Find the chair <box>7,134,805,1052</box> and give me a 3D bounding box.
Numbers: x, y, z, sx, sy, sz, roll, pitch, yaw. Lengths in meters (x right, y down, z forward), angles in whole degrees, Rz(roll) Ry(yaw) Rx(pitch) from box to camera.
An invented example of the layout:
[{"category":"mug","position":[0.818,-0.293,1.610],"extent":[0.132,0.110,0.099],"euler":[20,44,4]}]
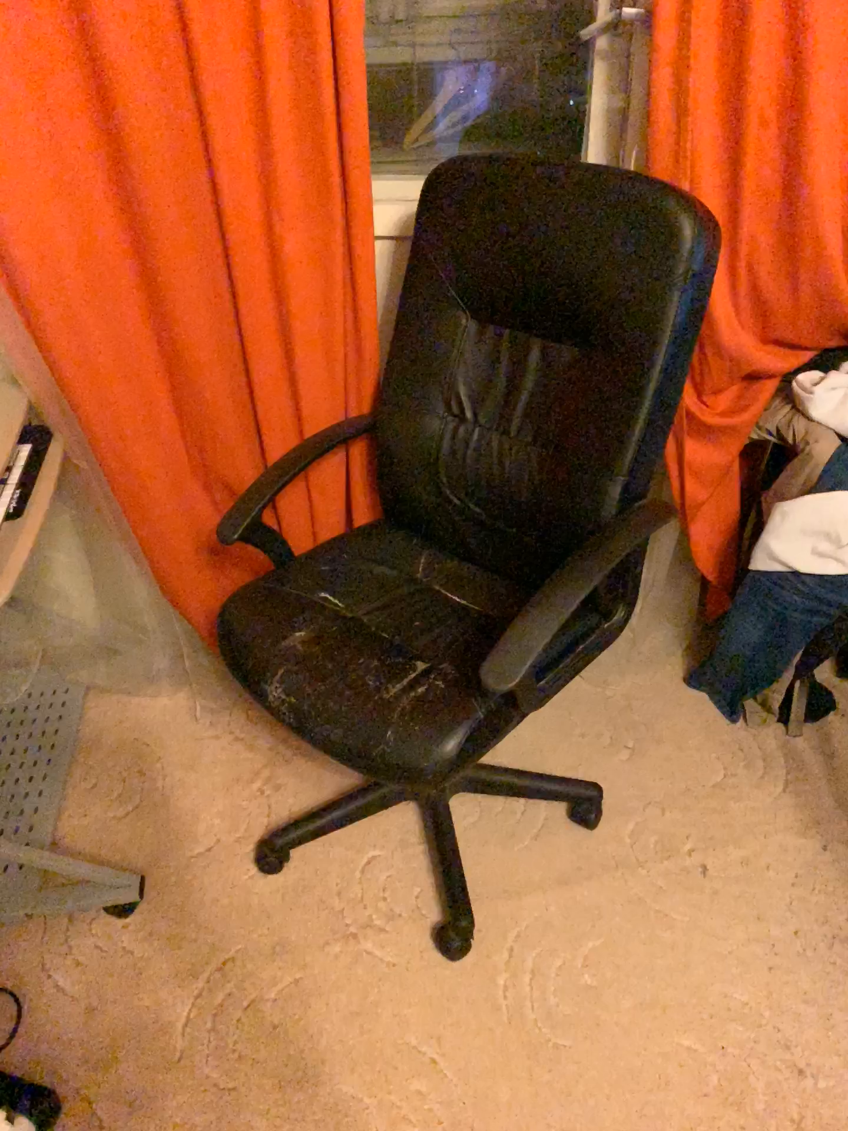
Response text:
[{"category":"chair","position":[0.007,-0.007,1.431],"extent":[0.712,1.123,0.742],"euler":[26,44,33]}]
